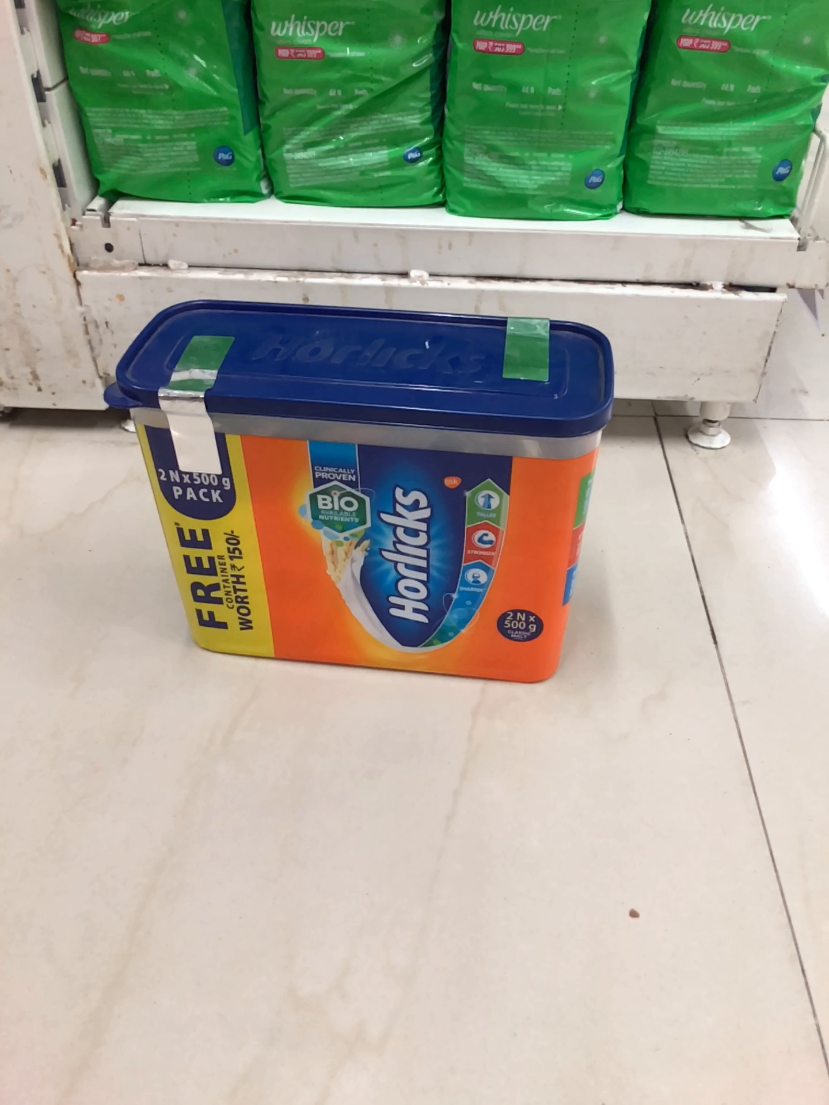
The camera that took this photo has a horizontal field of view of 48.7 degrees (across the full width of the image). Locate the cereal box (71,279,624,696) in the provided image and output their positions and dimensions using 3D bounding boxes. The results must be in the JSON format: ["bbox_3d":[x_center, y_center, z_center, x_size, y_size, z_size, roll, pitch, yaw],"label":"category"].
[{"bbox_3d":[-0.023,-0.031,0.448,0.220,0.159,0.101,5,40,6],"label":"cereal box"}]
